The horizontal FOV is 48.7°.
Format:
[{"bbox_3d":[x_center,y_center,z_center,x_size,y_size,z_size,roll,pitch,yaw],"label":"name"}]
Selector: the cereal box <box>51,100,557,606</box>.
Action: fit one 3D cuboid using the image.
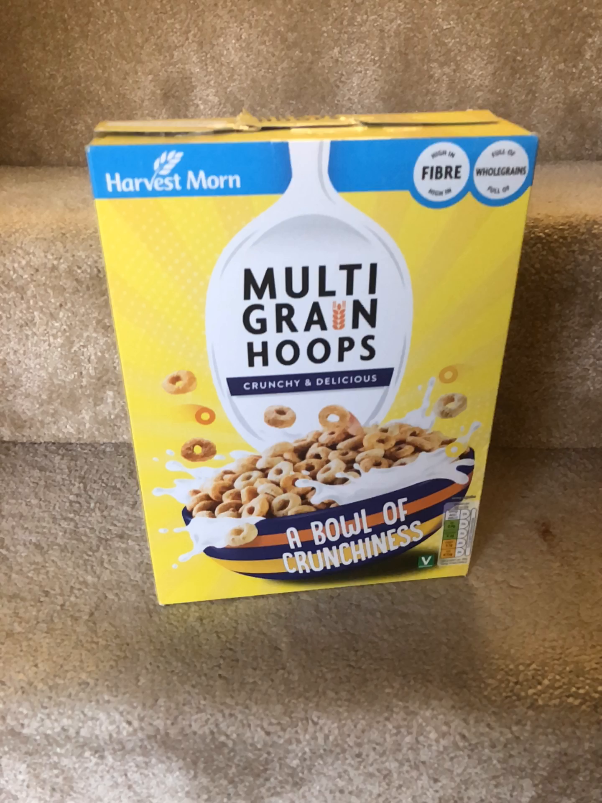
[{"bbox_3d":[0.001,-0.021,0.362,0.200,0.248,0.091,-4,30,-5],"label":"cereal box"}]
